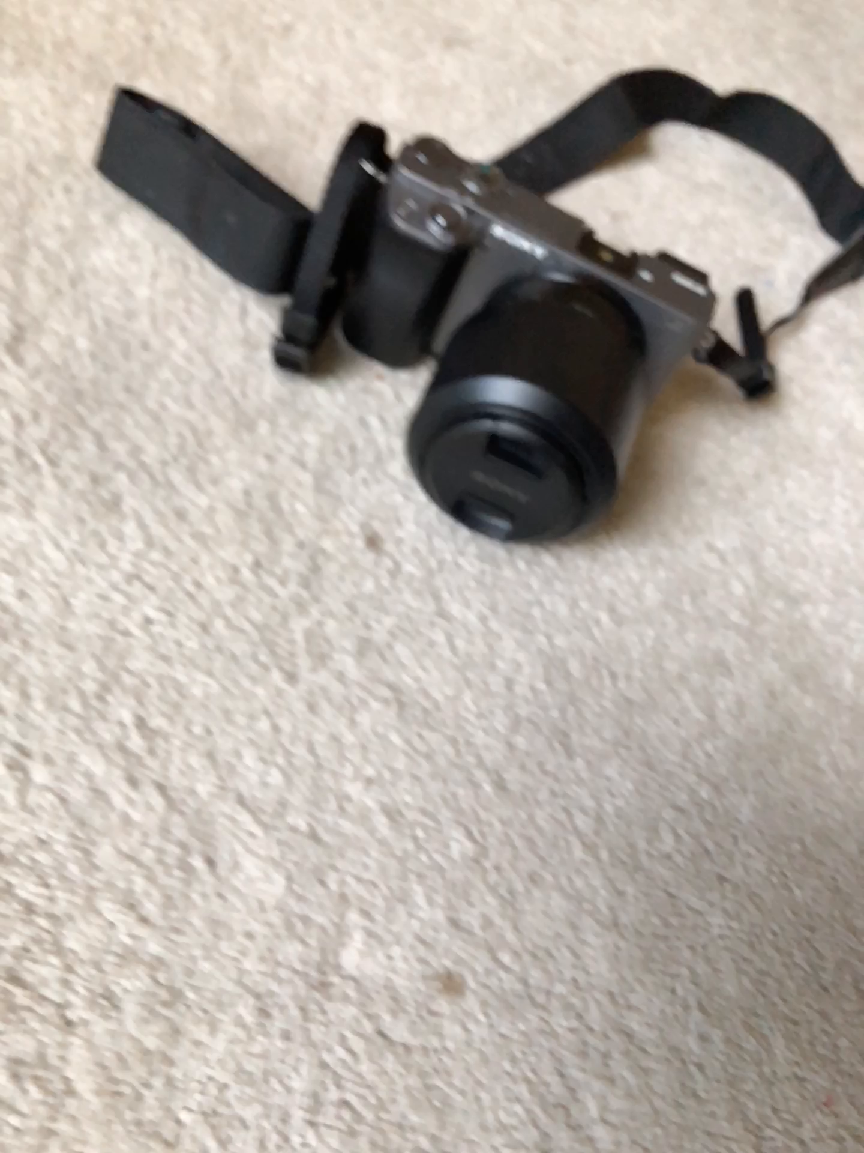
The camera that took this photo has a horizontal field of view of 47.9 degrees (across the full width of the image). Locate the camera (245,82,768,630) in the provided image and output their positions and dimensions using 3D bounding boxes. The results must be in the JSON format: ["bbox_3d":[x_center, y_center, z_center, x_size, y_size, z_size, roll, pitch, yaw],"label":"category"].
[{"bbox_3d":[0.028,-0.075,0.328,0.130,0.080,0.121,25,52,-3],"label":"camera"}]
